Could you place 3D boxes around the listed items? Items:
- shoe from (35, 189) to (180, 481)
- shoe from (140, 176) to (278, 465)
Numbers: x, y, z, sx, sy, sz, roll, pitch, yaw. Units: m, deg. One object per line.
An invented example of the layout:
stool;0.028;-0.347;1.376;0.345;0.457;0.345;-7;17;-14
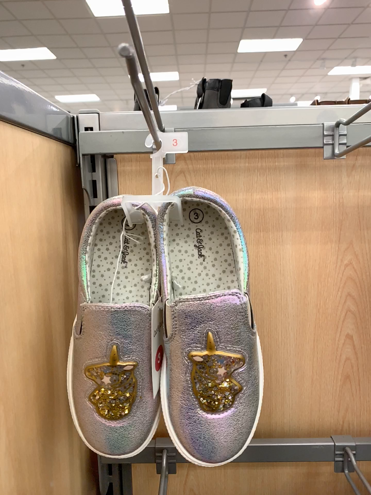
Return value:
shoe;-0.060;0.064;0.348;0.100;0.221;0.113;-2;4;-2
shoe;0.017;0.054;0.350;0.100;0.221;0.113;-2;4;-2
